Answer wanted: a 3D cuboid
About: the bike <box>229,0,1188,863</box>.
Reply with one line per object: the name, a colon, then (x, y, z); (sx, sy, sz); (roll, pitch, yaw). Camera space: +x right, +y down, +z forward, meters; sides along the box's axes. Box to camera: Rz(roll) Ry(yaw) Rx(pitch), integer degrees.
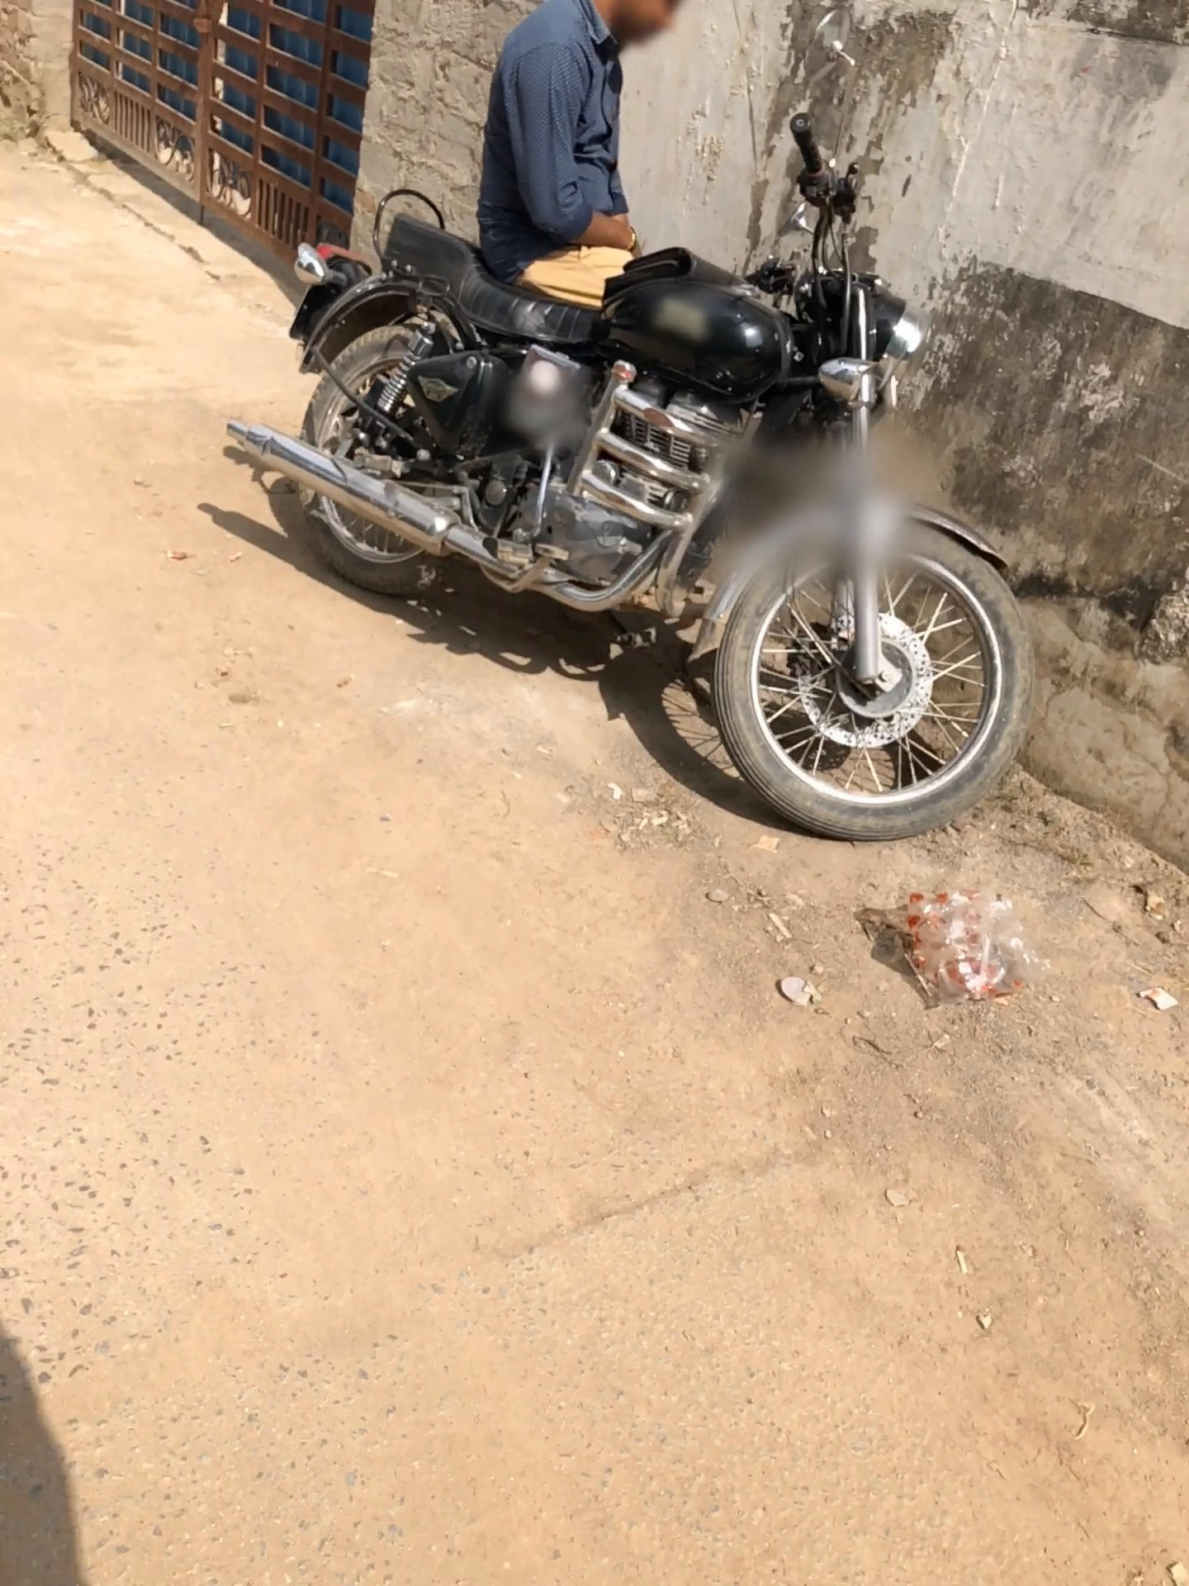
bike: (0.257, -0.913, 2.968); (1.930, 1.317, 0.887); (27, 33, 26)
